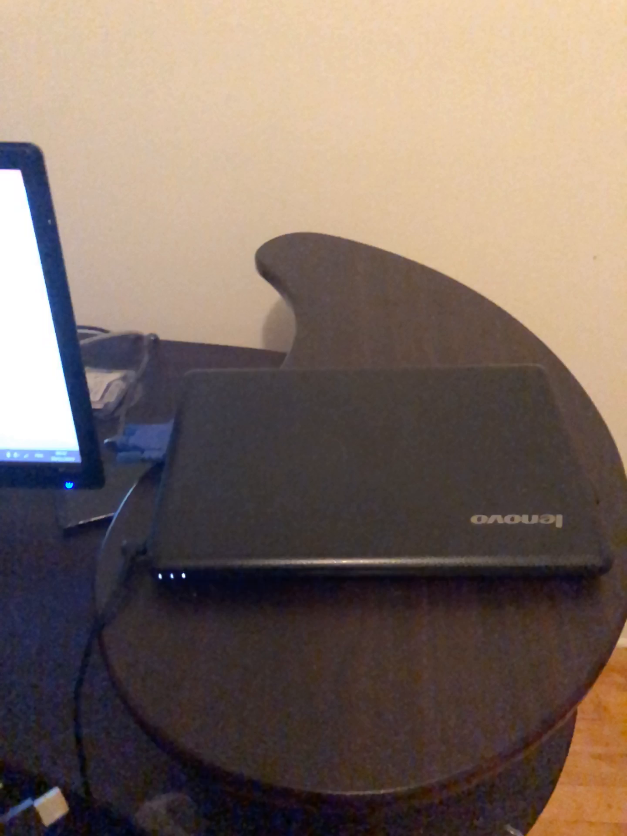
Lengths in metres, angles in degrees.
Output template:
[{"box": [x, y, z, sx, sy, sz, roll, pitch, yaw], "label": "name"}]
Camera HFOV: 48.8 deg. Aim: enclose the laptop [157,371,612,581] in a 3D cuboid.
[{"box": [0.038, 0.030, 0.460, 0.259, 0.008, 0.173, -2, 43, 2], "label": "laptop"}]
